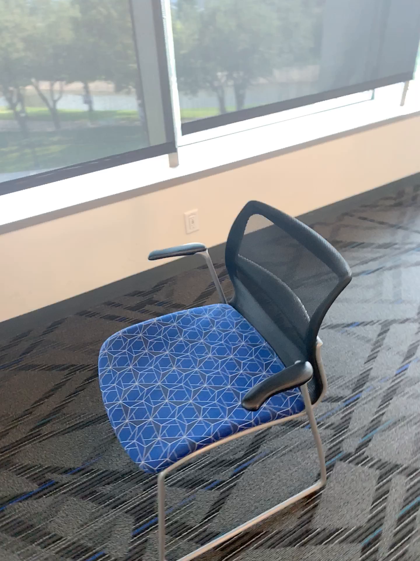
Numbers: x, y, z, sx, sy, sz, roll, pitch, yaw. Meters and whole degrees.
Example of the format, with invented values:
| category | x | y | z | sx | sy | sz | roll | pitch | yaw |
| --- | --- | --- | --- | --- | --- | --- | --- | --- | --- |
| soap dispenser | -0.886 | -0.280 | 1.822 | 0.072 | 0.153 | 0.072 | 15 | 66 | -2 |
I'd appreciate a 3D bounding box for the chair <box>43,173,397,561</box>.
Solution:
| category | x | y | z | sx | sy | sz | roll | pitch | yaw |
| --- | --- | --- | --- | --- | --- | --- | --- | --- | --- |
| chair | -0.004 | 0.228 | 1.146 | 0.581 | 0.763 | 0.534 | -17 | 39 | -19 |
